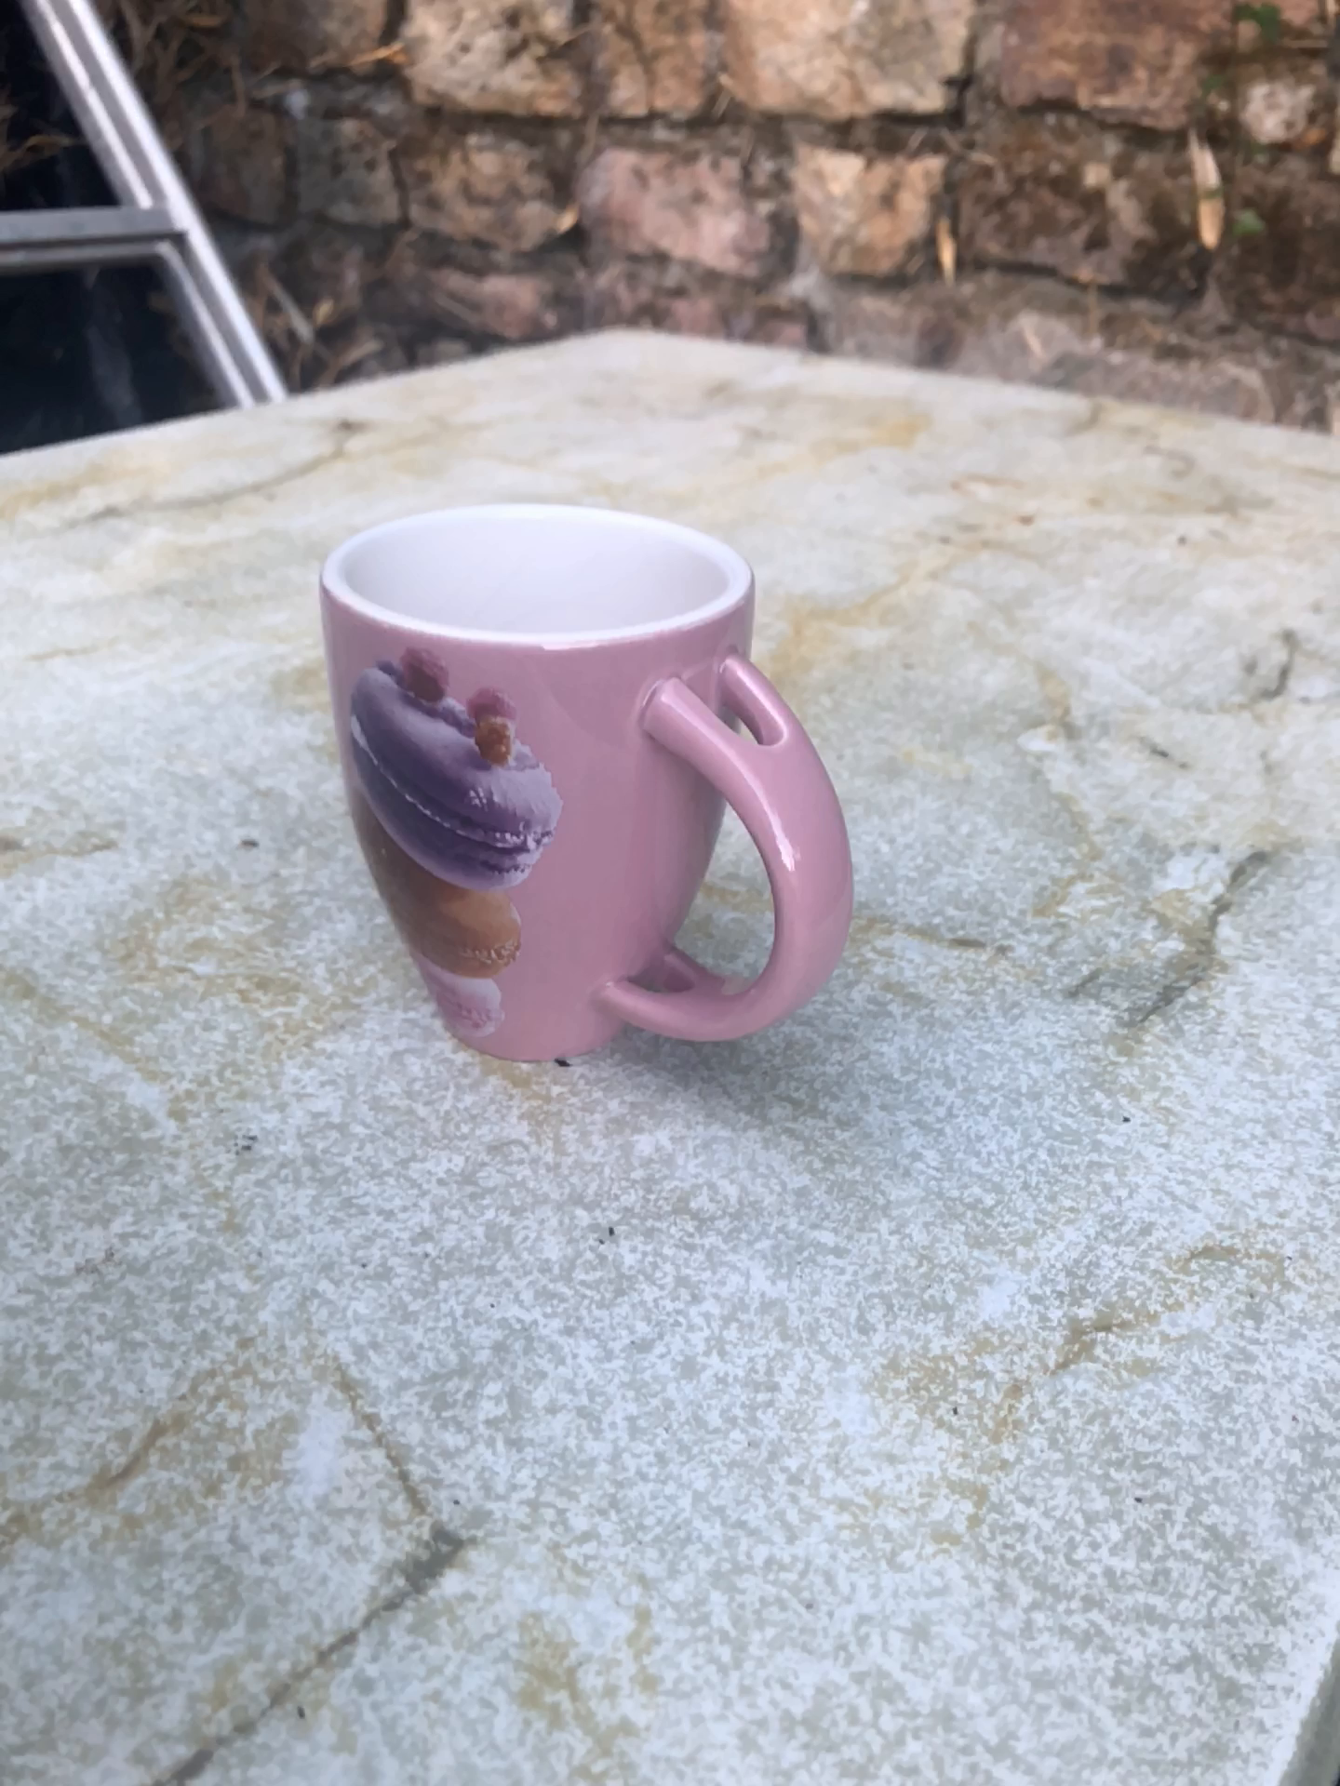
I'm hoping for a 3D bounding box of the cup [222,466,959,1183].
[{"bbox_3d":[-0.016,-0.021,0.269,0.080,0.080,0.099,-22,37,-35],"label":"cup"}]
